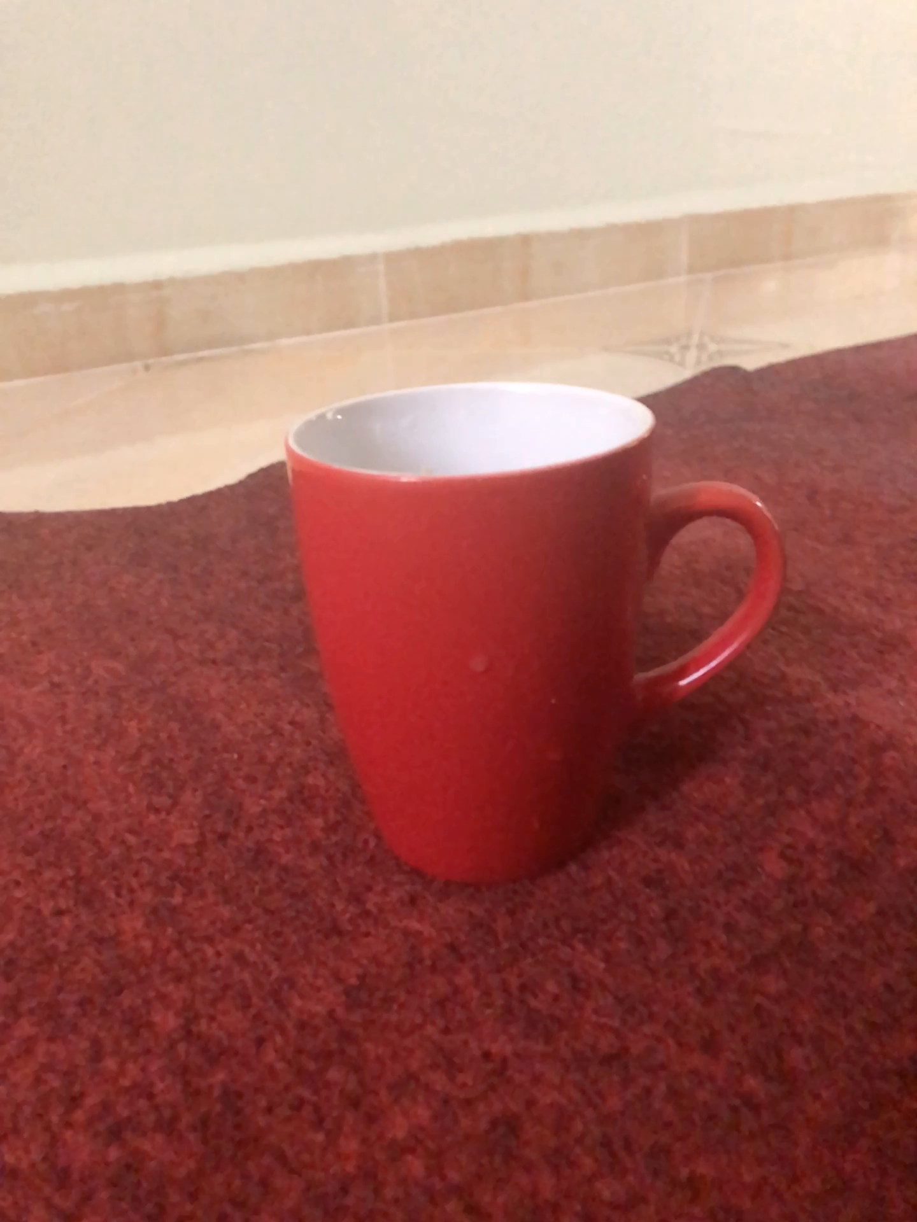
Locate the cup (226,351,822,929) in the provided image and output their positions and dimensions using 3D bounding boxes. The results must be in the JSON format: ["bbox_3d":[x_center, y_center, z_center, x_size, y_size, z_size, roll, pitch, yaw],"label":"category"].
[{"bbox_3d":[0.014,-0.002,0.245,0.109,0.094,0.078,-14,26,-21],"label":"cup"}]
